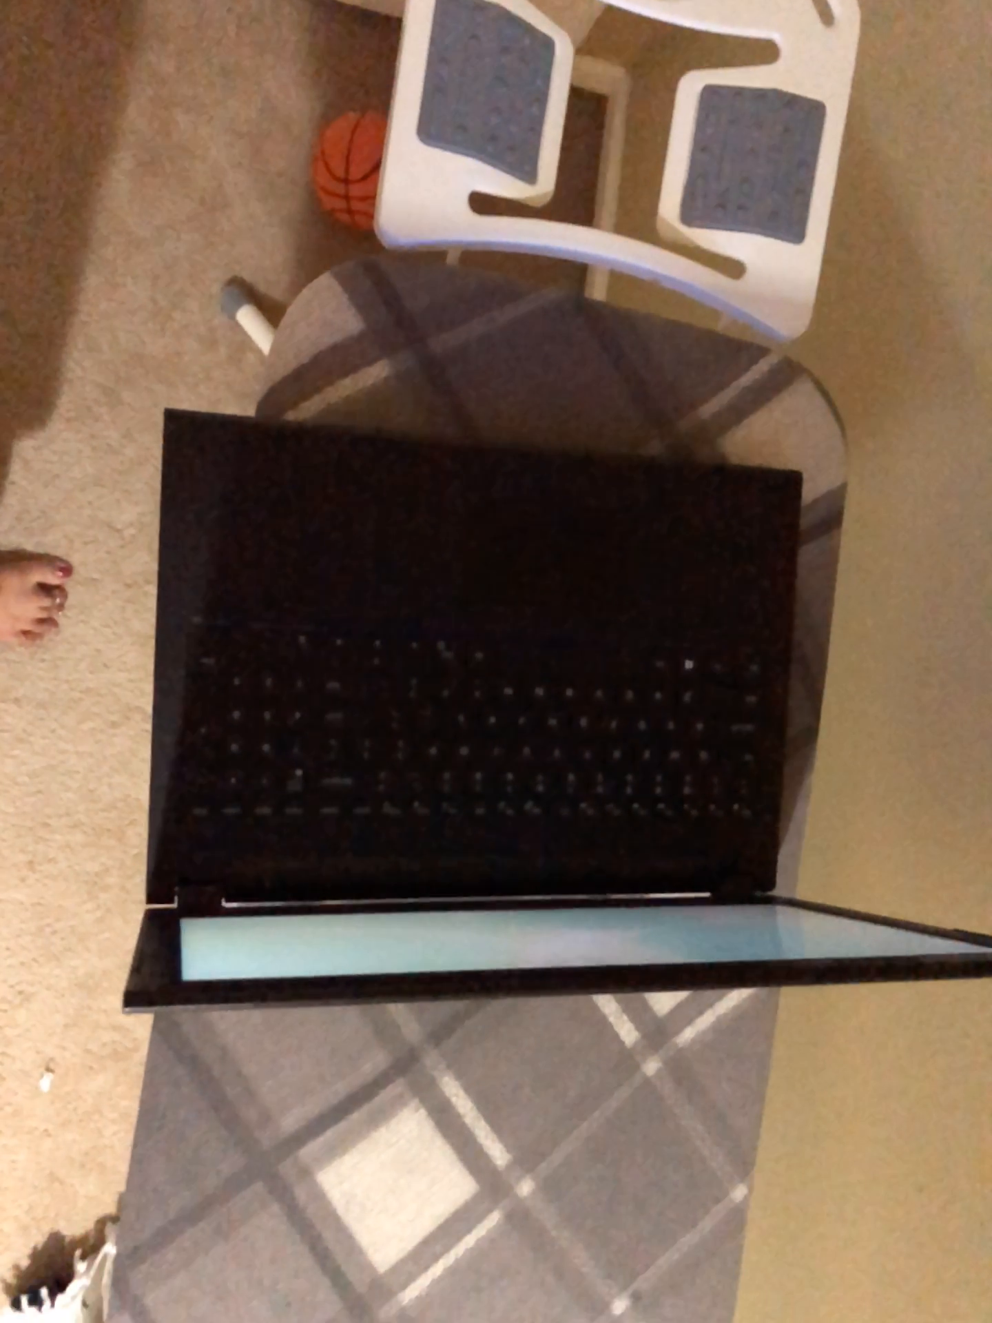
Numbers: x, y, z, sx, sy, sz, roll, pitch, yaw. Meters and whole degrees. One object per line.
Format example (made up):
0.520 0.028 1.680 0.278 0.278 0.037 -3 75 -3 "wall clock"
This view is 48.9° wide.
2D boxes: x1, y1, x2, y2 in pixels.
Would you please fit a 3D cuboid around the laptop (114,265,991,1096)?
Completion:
0.032 0.009 0.484 0.352 0.232 0.247 3 91 -16 "laptop"
